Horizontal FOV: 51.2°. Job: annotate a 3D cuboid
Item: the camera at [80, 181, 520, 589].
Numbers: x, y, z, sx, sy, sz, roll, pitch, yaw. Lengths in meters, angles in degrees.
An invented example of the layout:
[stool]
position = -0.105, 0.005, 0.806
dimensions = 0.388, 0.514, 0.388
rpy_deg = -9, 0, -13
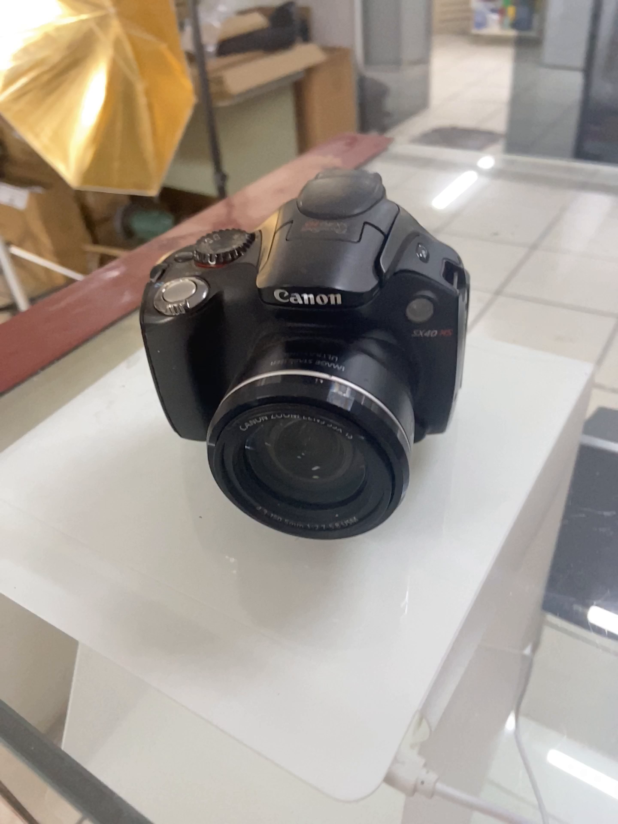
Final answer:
[camera]
position = 0.008, -0.021, 0.255
dimensions = 0.120, 0.089, 0.141
rpy_deg = 2, 38, 9
